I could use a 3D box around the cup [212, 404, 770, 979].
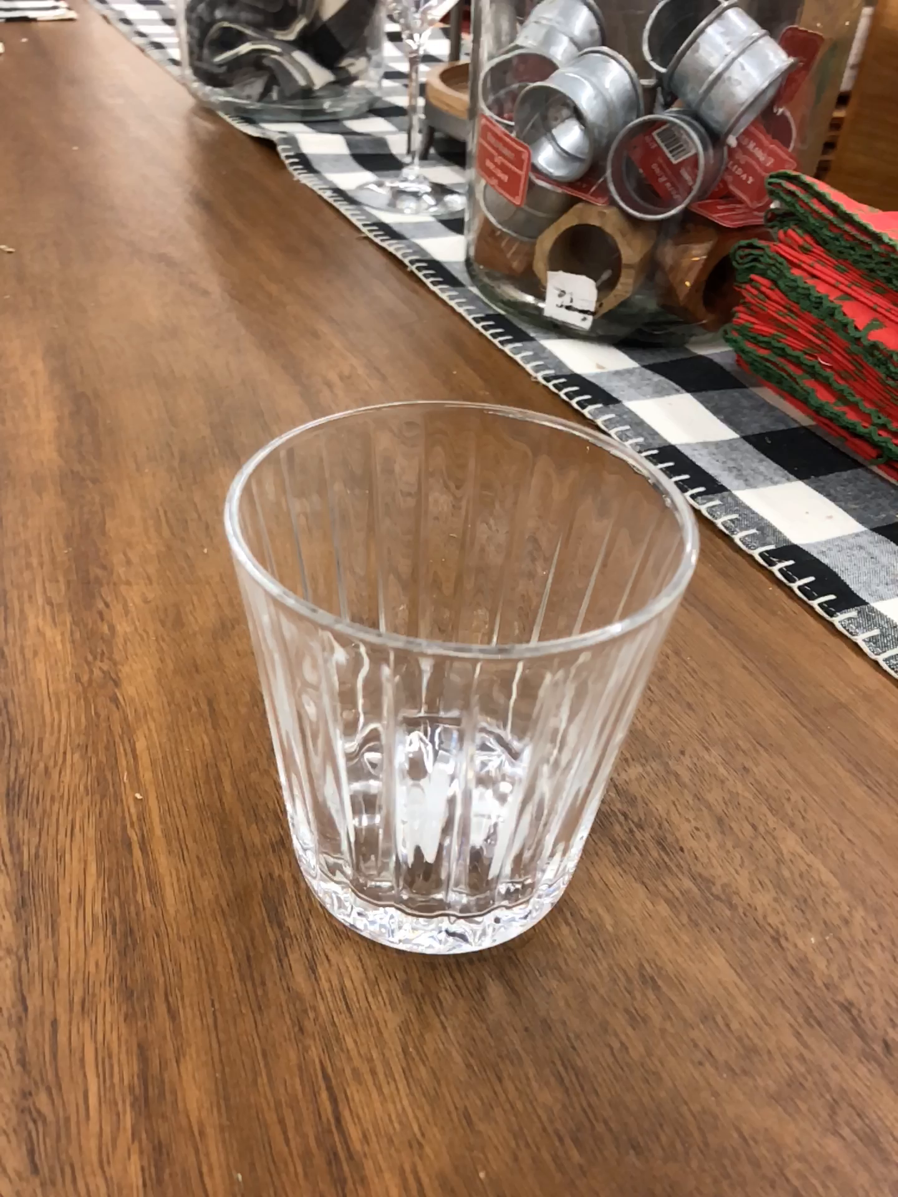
[{"bbox_3d":[0.003,0.018,0.229,0.093,0.093,0.090,2,37,-1],"label":"cup"}]
